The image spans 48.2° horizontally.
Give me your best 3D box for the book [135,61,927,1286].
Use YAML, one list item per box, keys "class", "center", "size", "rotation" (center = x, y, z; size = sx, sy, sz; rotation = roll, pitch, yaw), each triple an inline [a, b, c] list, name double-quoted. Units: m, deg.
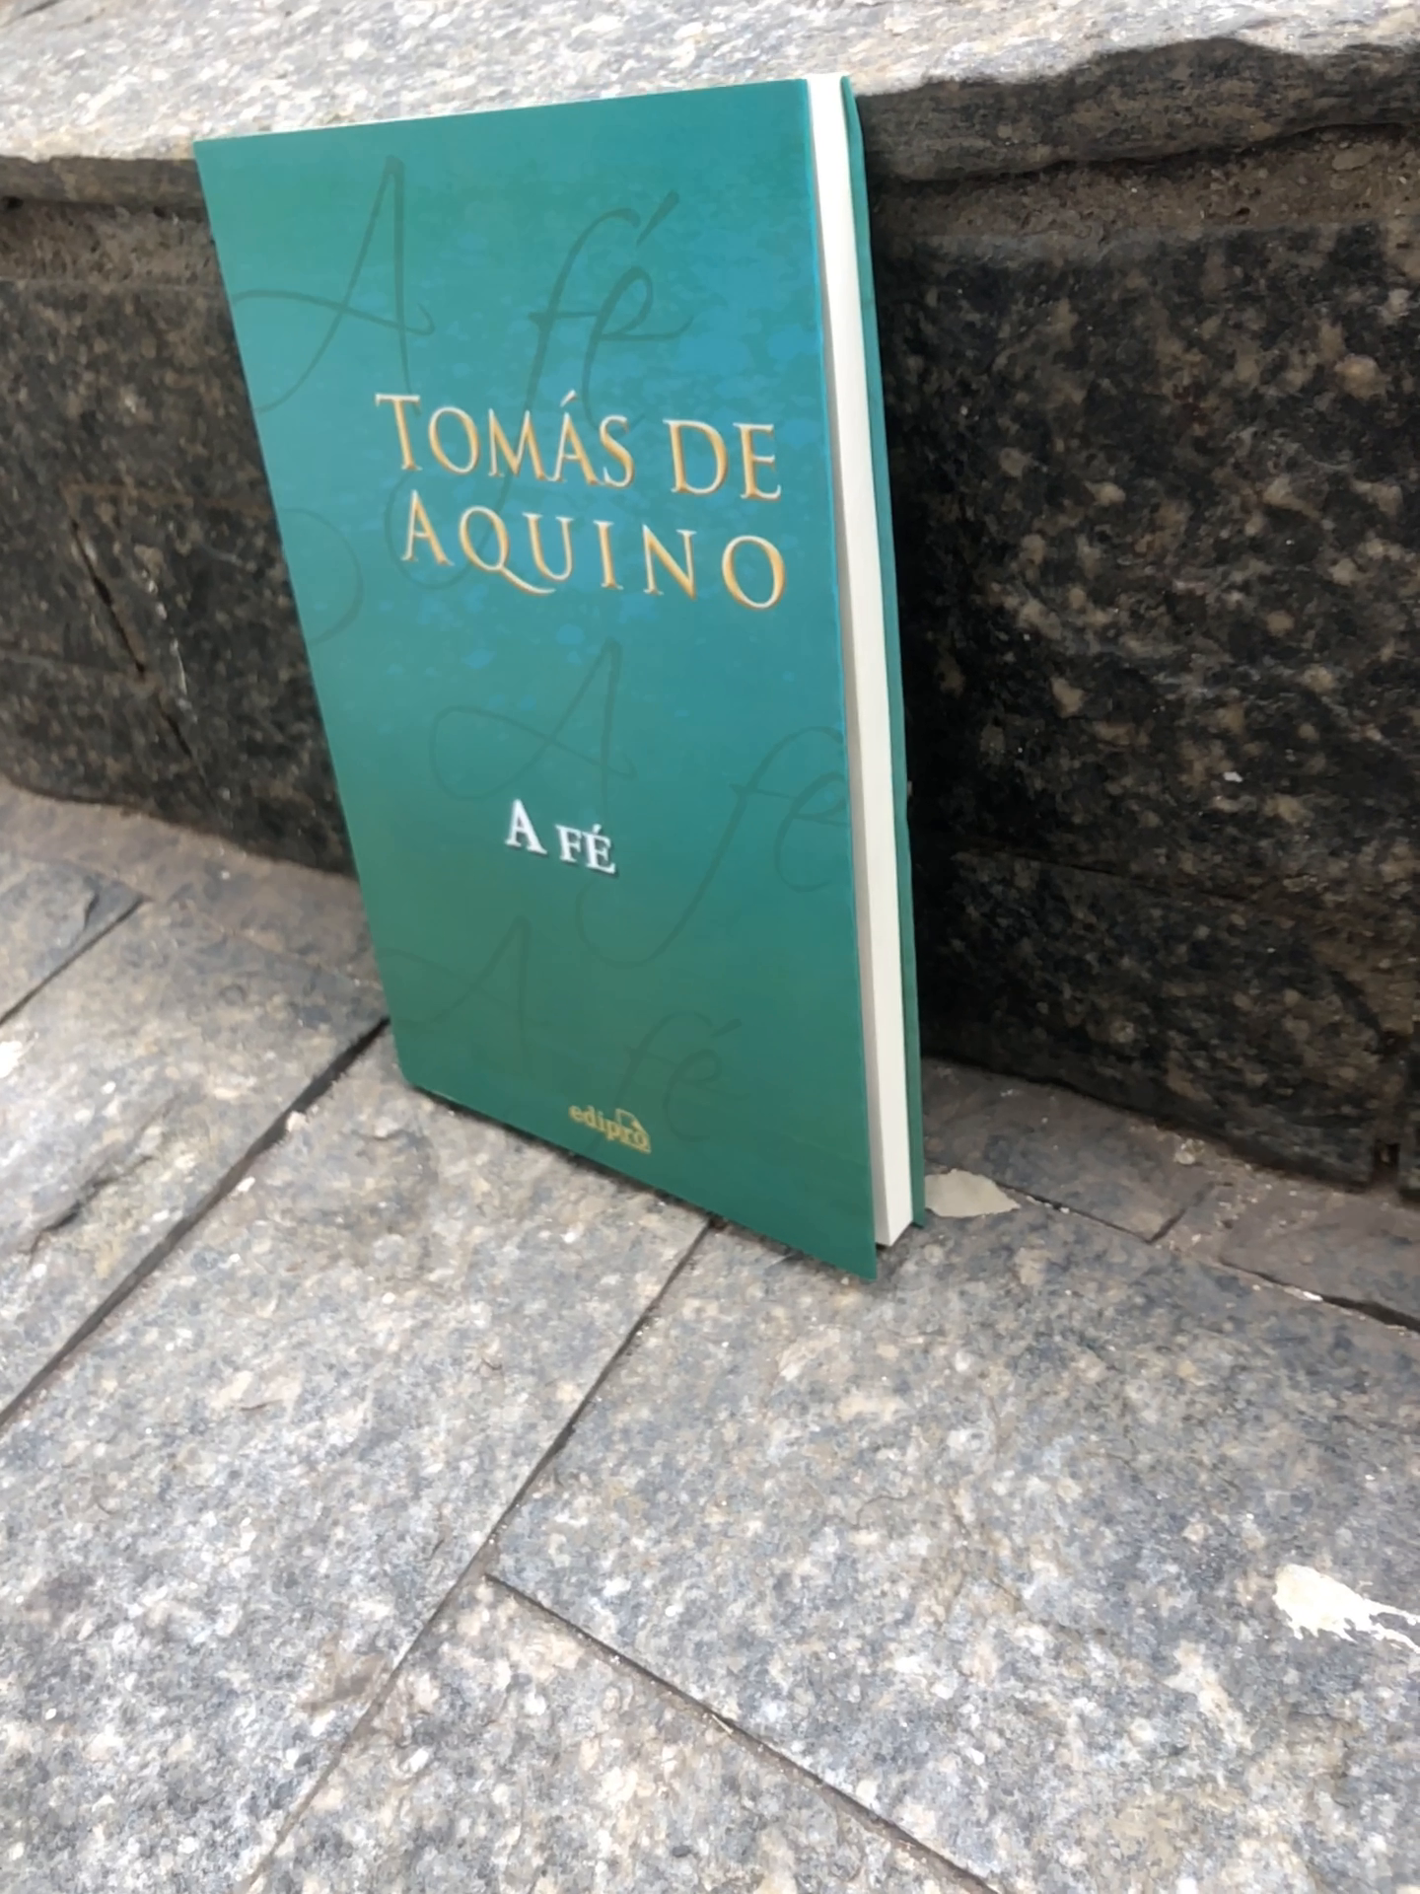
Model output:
- class: "book"
  center: [-0.029, -0.045, 0.294]
  size: [0.143, 0.199, 0.020]
  rotation: [17, 37, 34]
